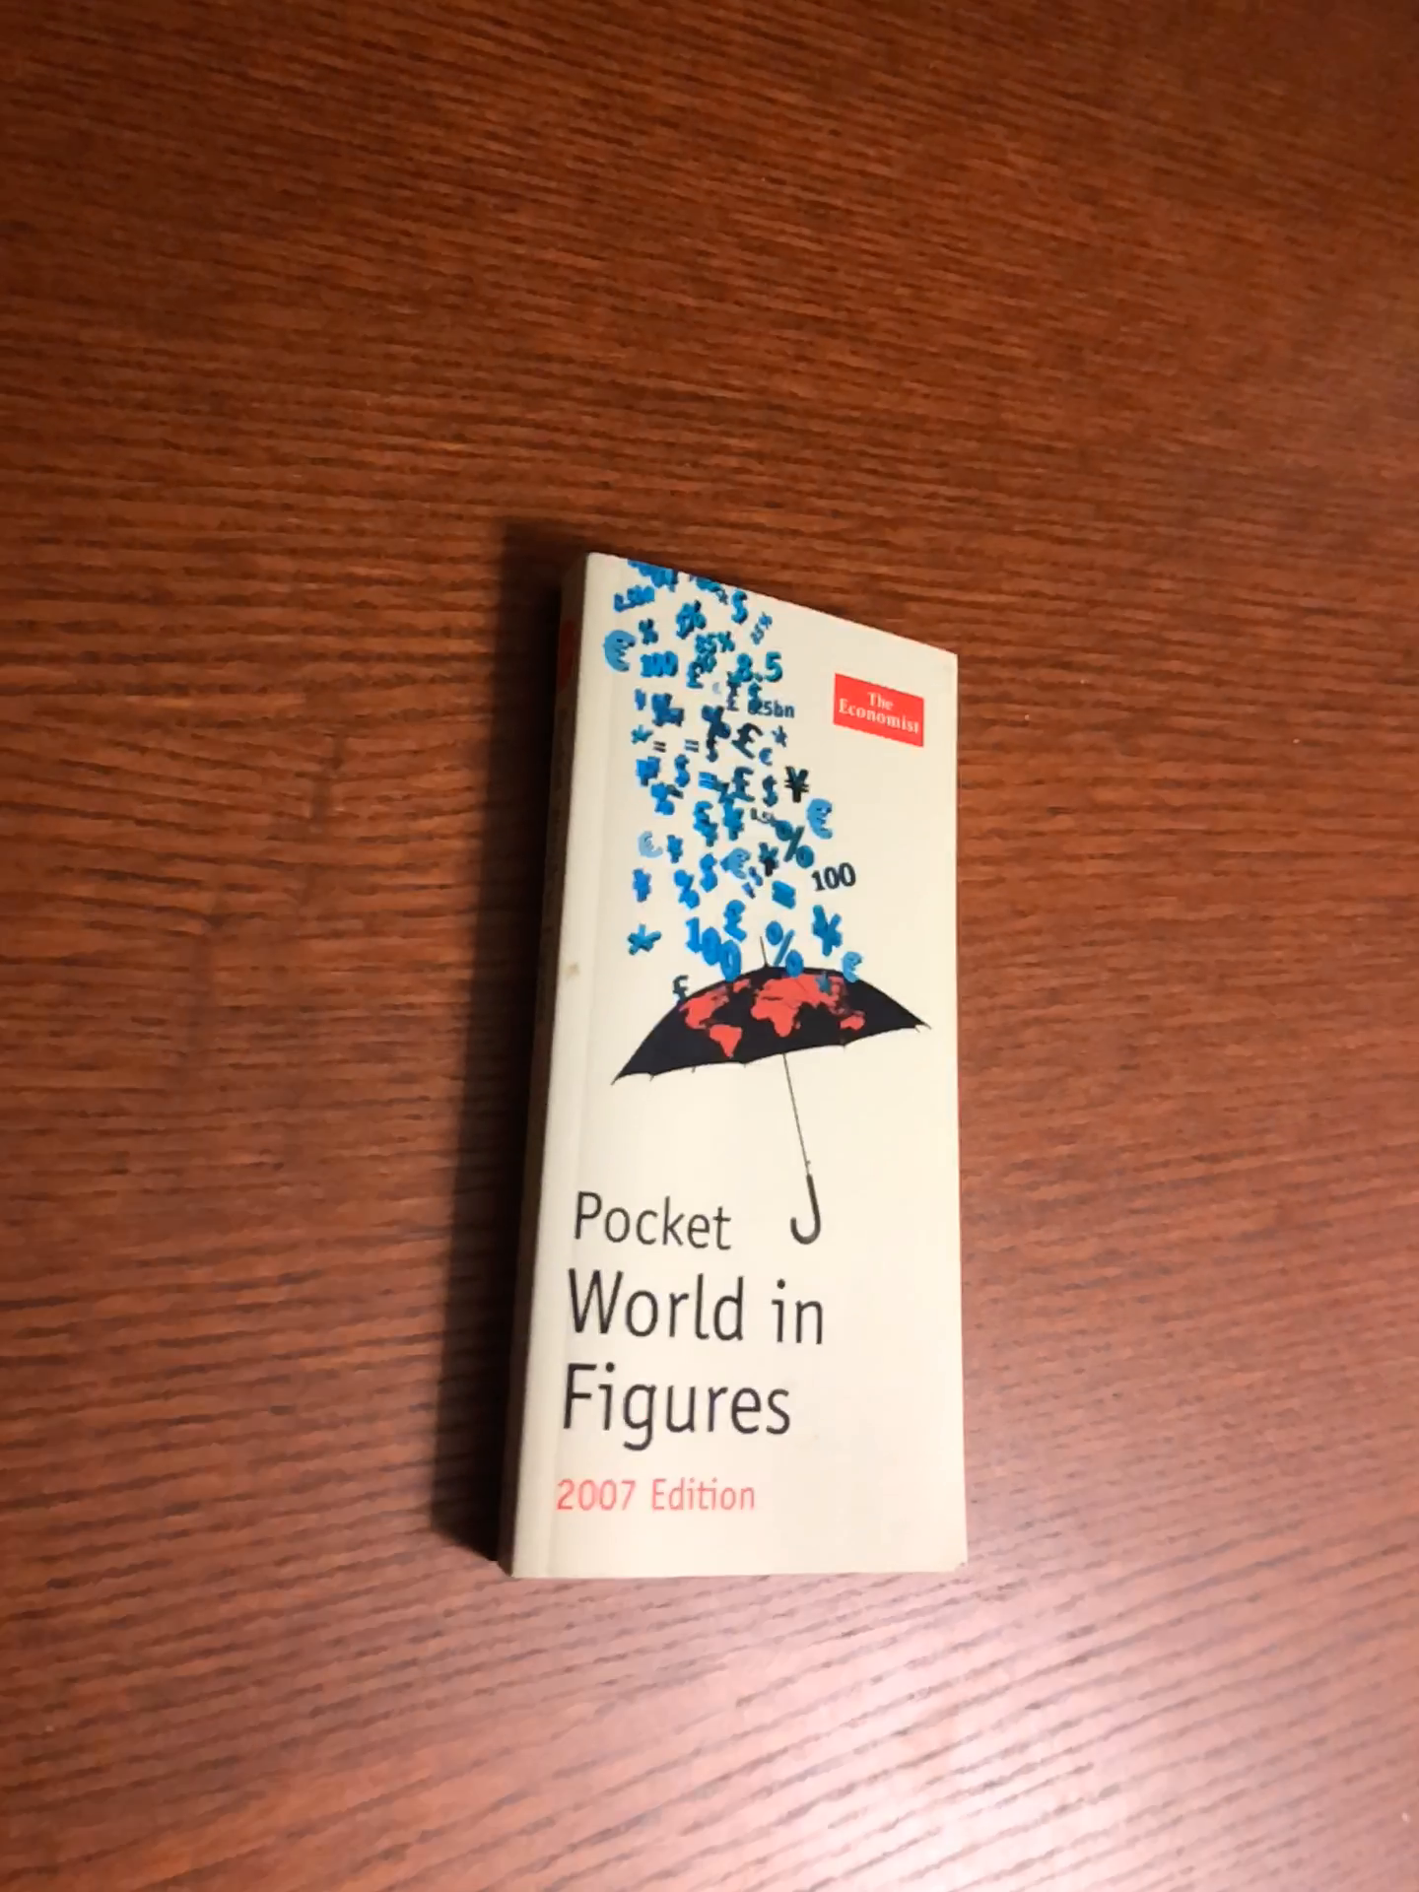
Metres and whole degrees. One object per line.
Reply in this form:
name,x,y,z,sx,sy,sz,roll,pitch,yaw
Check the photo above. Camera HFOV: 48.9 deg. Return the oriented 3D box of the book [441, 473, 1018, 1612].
book,0.010,0.018,0.304,0.100,0.030,0.200,10,74,-25
